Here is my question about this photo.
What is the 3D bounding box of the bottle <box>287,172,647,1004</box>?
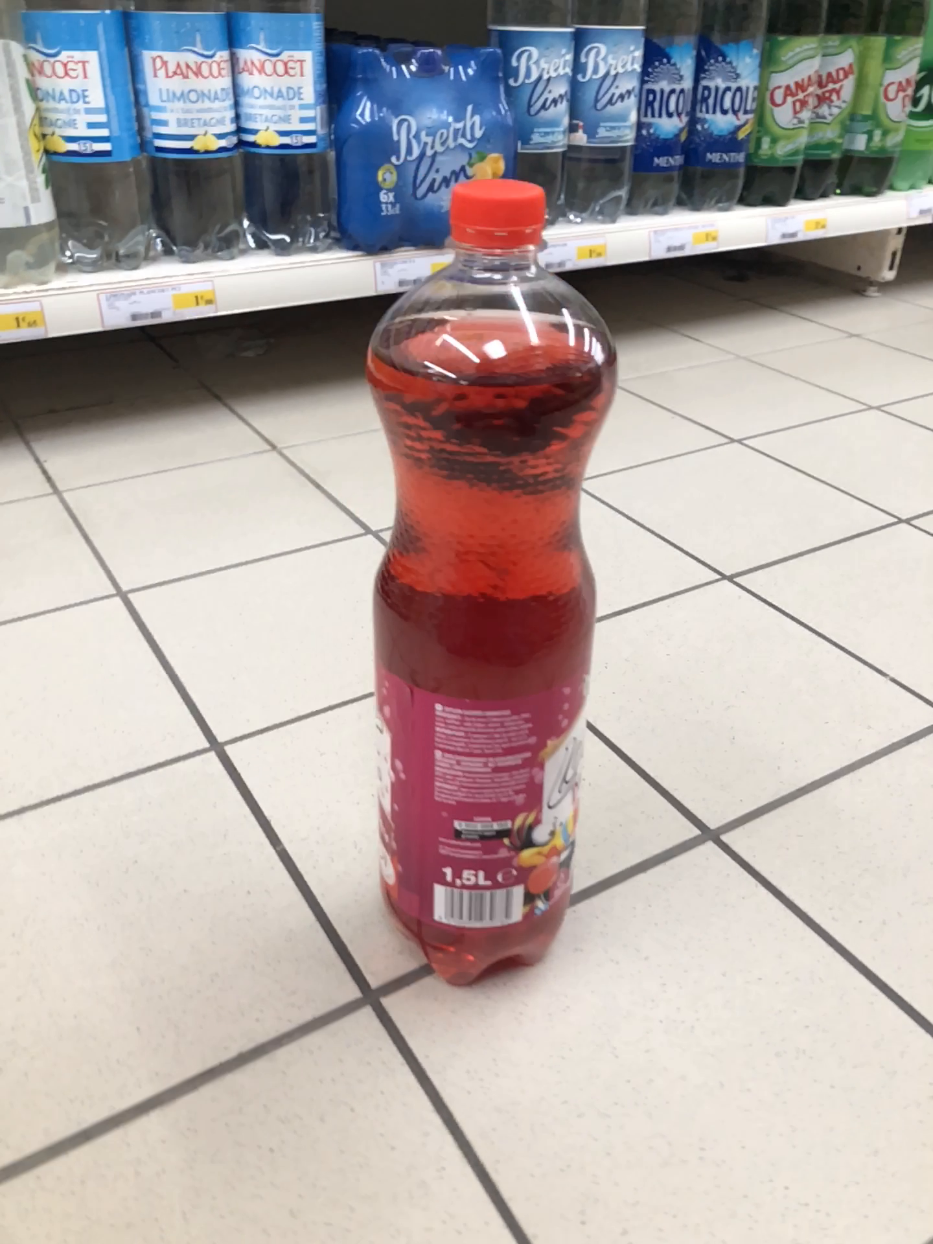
[{"bbox_3d":[0.003,-0.001,0.403,0.100,0.308,0.101,1,31,-1],"label":"bottle"}]
